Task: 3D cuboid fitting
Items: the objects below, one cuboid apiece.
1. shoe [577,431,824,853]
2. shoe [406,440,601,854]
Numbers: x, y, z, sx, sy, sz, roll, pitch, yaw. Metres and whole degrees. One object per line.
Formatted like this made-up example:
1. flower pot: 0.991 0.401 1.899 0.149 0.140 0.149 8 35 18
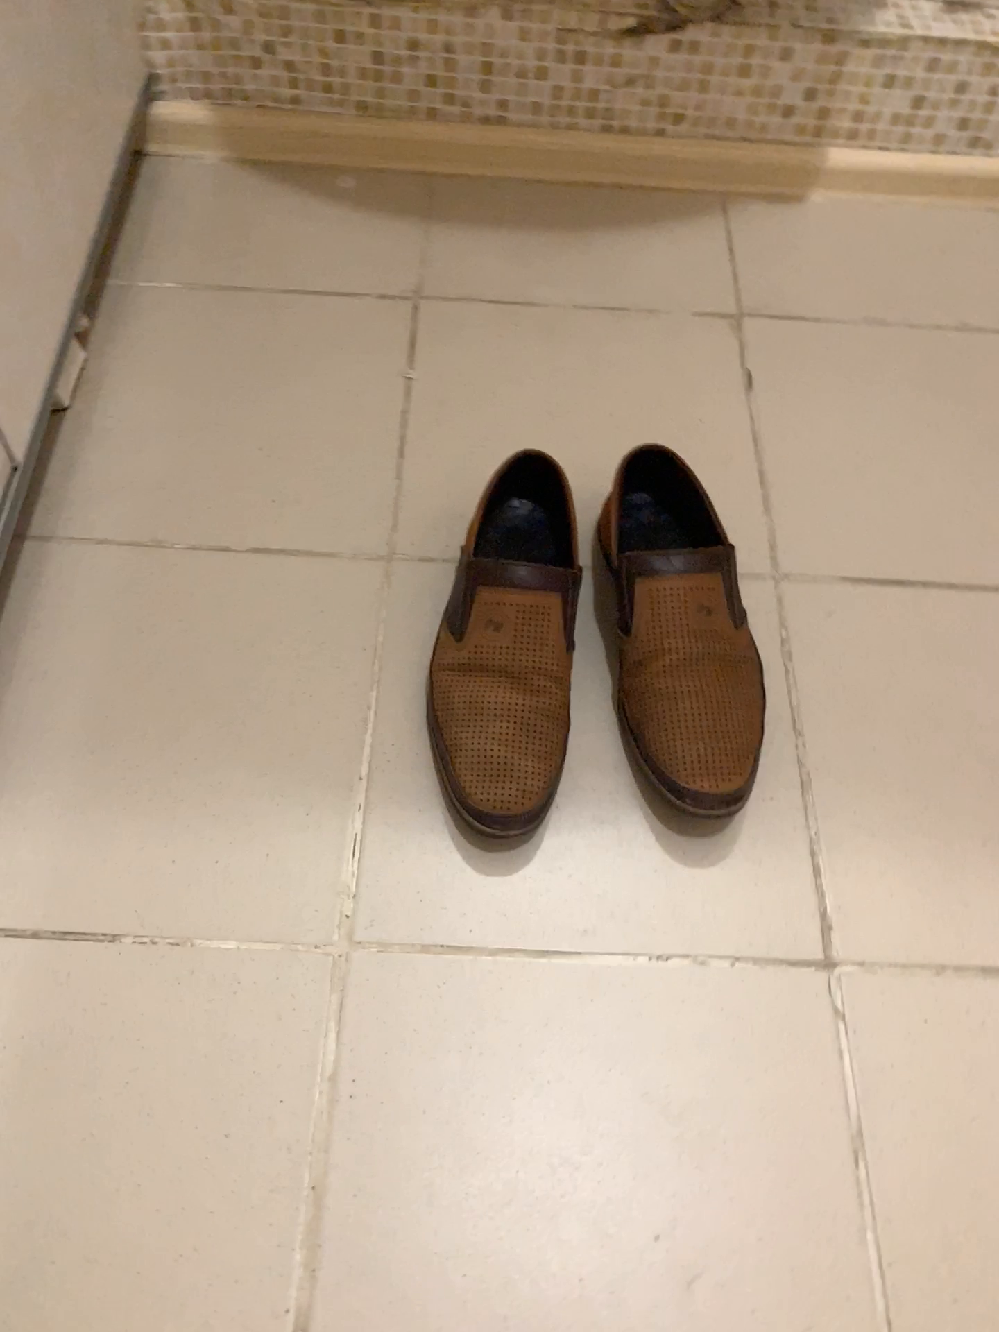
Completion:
1. shoe: 0.126 -0.025 0.709 0.110 0.090 0.291 -1 58 -4
2. shoe: 0.005 -0.020 0.679 0.110 0.080 0.271 3 58 -1
